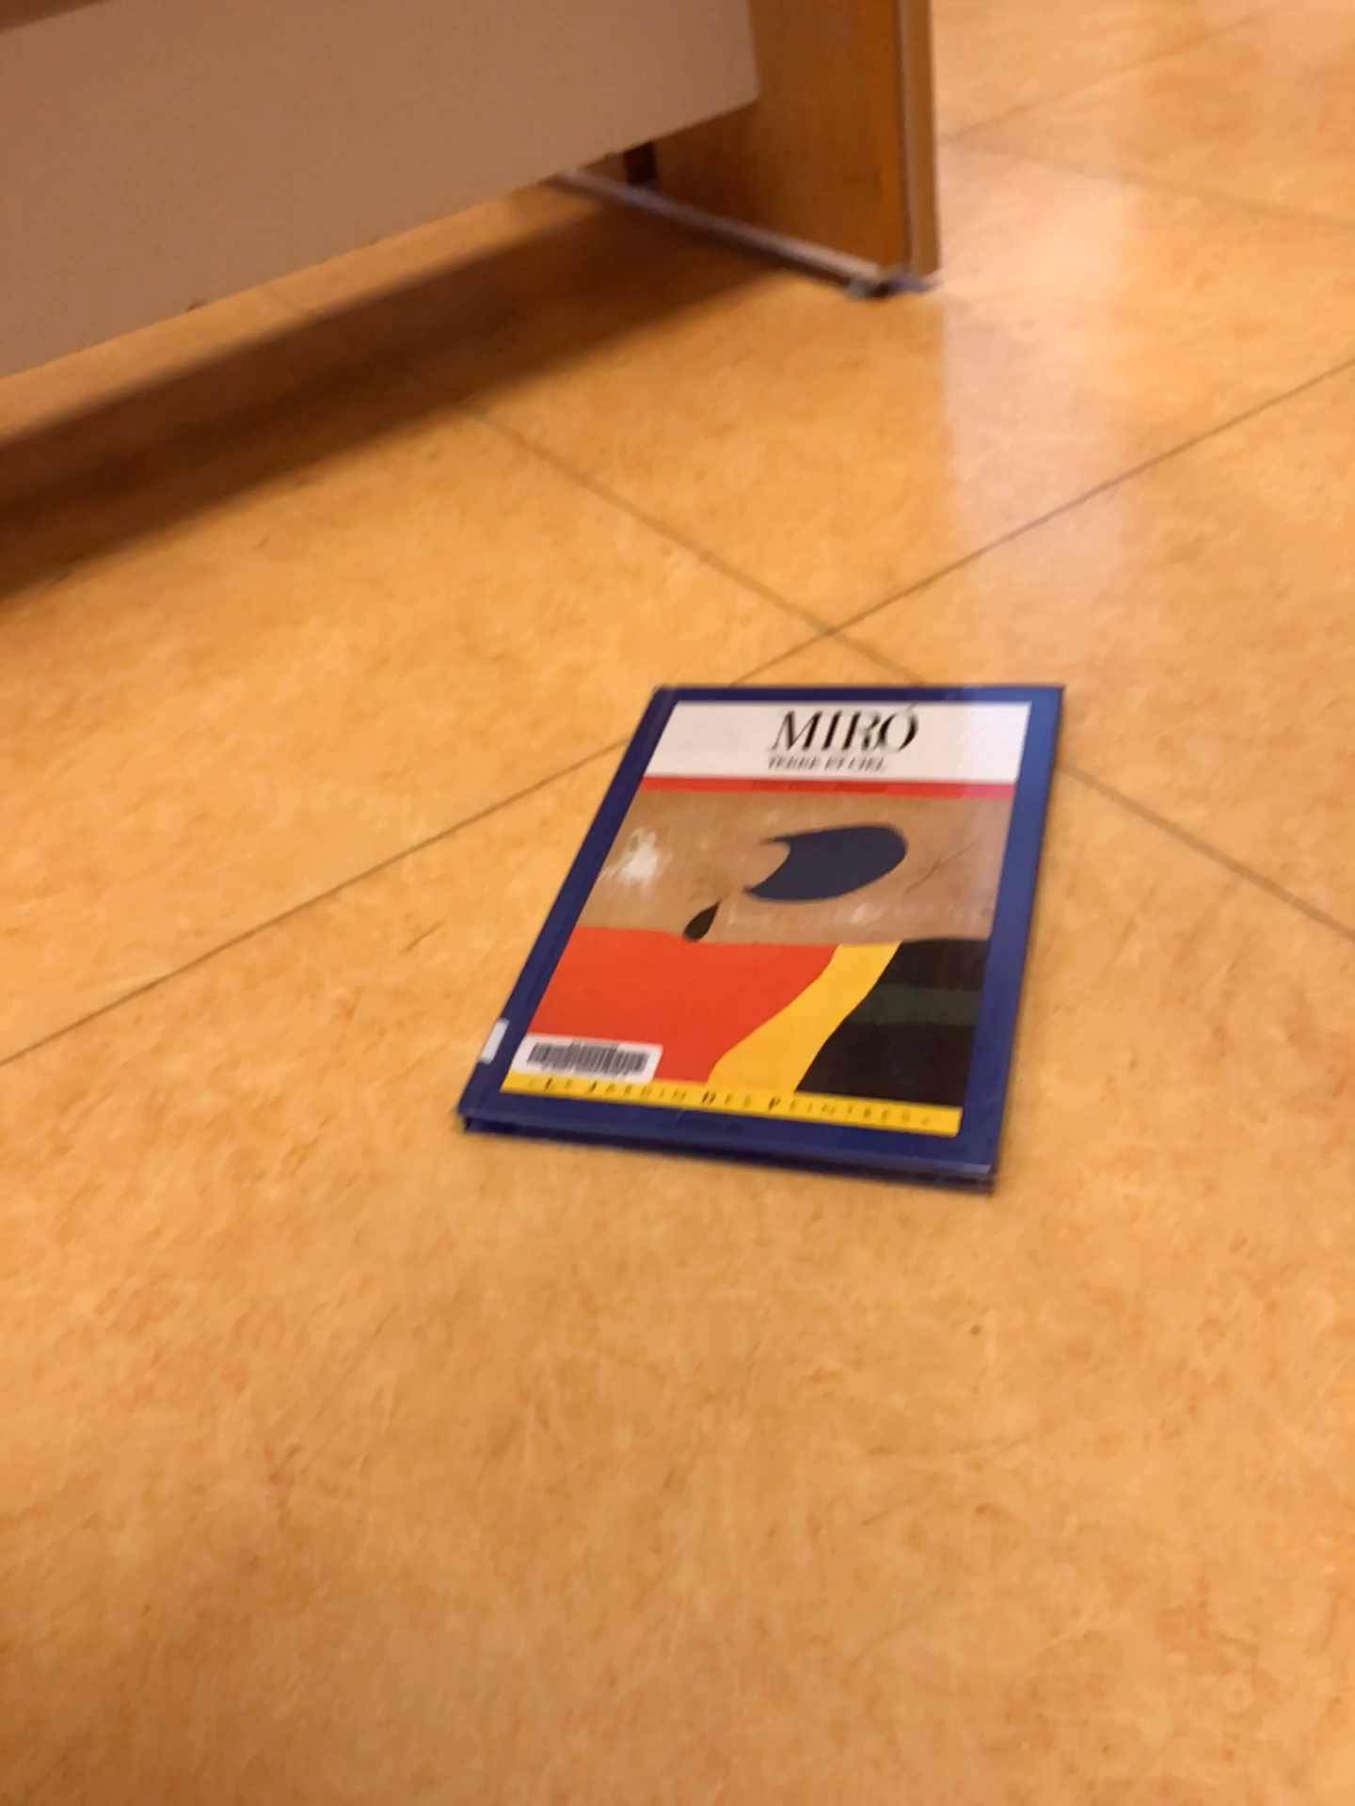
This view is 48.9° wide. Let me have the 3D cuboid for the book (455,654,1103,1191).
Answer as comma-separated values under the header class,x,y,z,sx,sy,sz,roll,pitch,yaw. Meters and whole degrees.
class,x,y,z,sx,sy,sz,roll,pitch,yaw
book,0.050,-0.013,0.524,0.177,0.020,0.247,3,42,18
